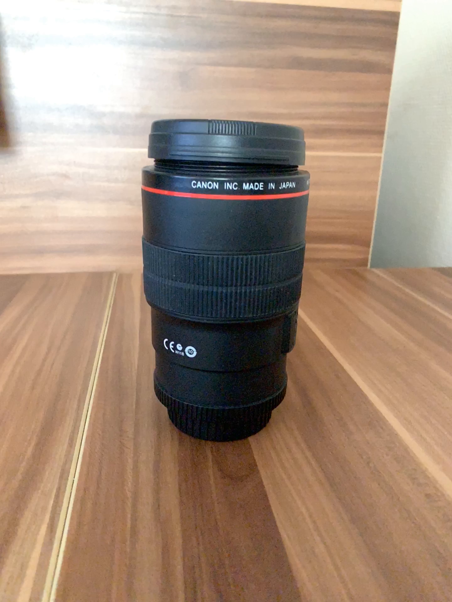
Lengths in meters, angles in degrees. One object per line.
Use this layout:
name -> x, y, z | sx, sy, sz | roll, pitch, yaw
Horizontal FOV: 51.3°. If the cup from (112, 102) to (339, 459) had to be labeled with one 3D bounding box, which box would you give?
cup -> -0.007, -0.016, 0.224 | 0.070, 0.139, 0.080 | -7, 21, -24
